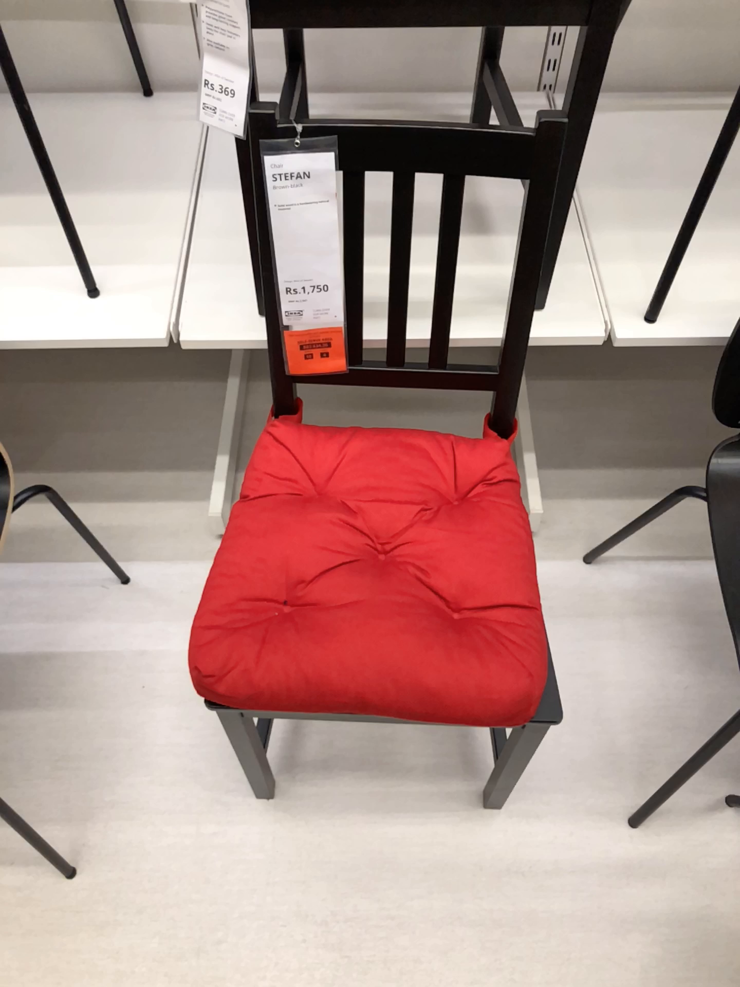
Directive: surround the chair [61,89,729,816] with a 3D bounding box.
[{"bbox_3d":[0.022,0.042,1.007,0.430,0.836,0.482,2,56,1],"label":"chair"}]
